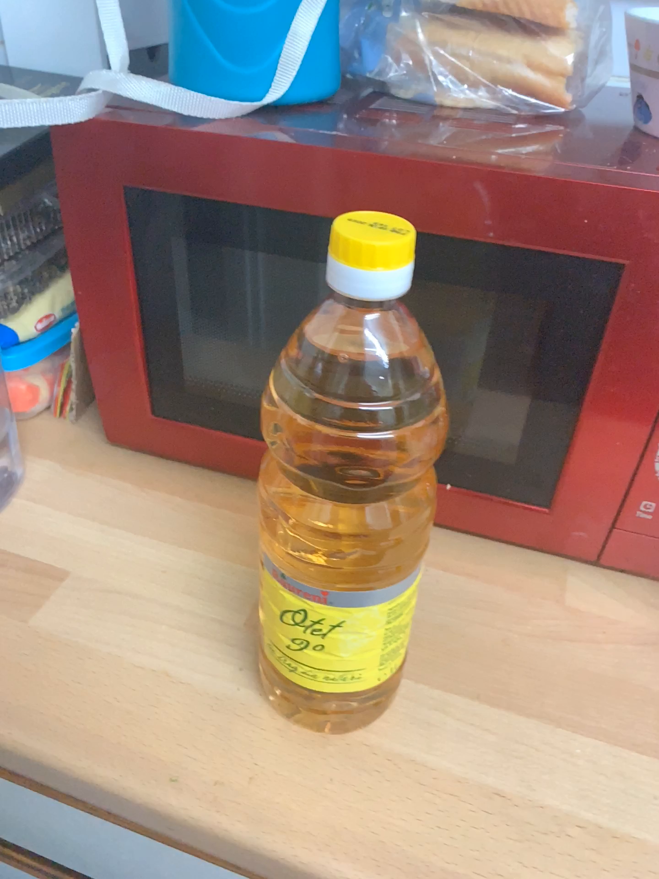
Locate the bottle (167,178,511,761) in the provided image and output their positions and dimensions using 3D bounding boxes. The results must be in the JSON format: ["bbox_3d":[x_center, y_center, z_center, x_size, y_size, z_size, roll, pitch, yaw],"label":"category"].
[{"bbox_3d":[0.002,0.023,0.293,0.090,0.228,0.081,16,38,17],"label":"bottle"}]
